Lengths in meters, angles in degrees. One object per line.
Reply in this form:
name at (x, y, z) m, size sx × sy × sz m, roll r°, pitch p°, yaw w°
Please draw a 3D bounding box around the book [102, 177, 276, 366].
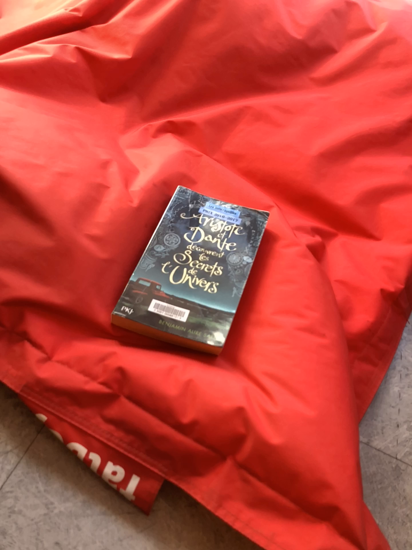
book at (-0.012, -0.016, 0.587) m, size 0.148 × 0.048 × 0.229 m, roll 17°, pitch 58°, yaw 10°
